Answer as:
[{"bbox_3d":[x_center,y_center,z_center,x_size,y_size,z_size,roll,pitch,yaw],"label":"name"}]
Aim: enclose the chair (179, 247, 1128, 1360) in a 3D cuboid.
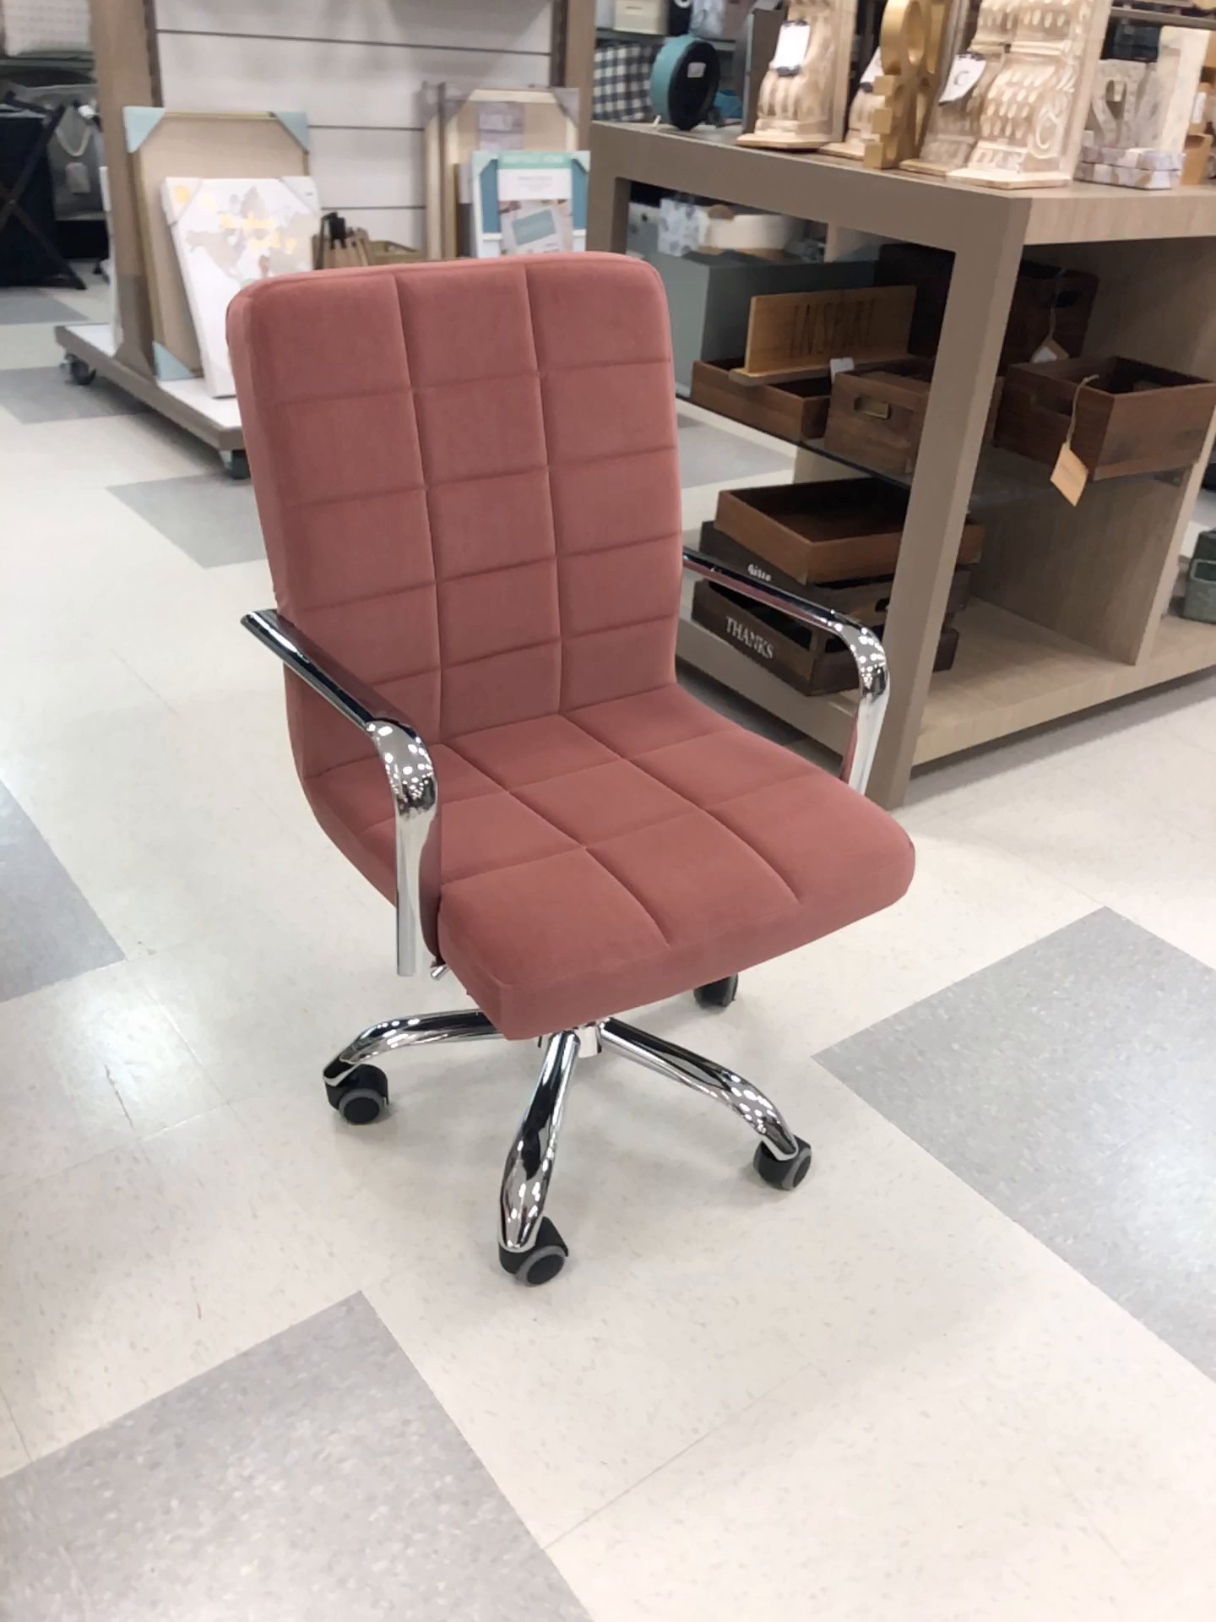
[{"bbox_3d":[-0.005,-0.066,1.320,0.576,0.819,0.563,-16,36,-32],"label":"chair"}]
